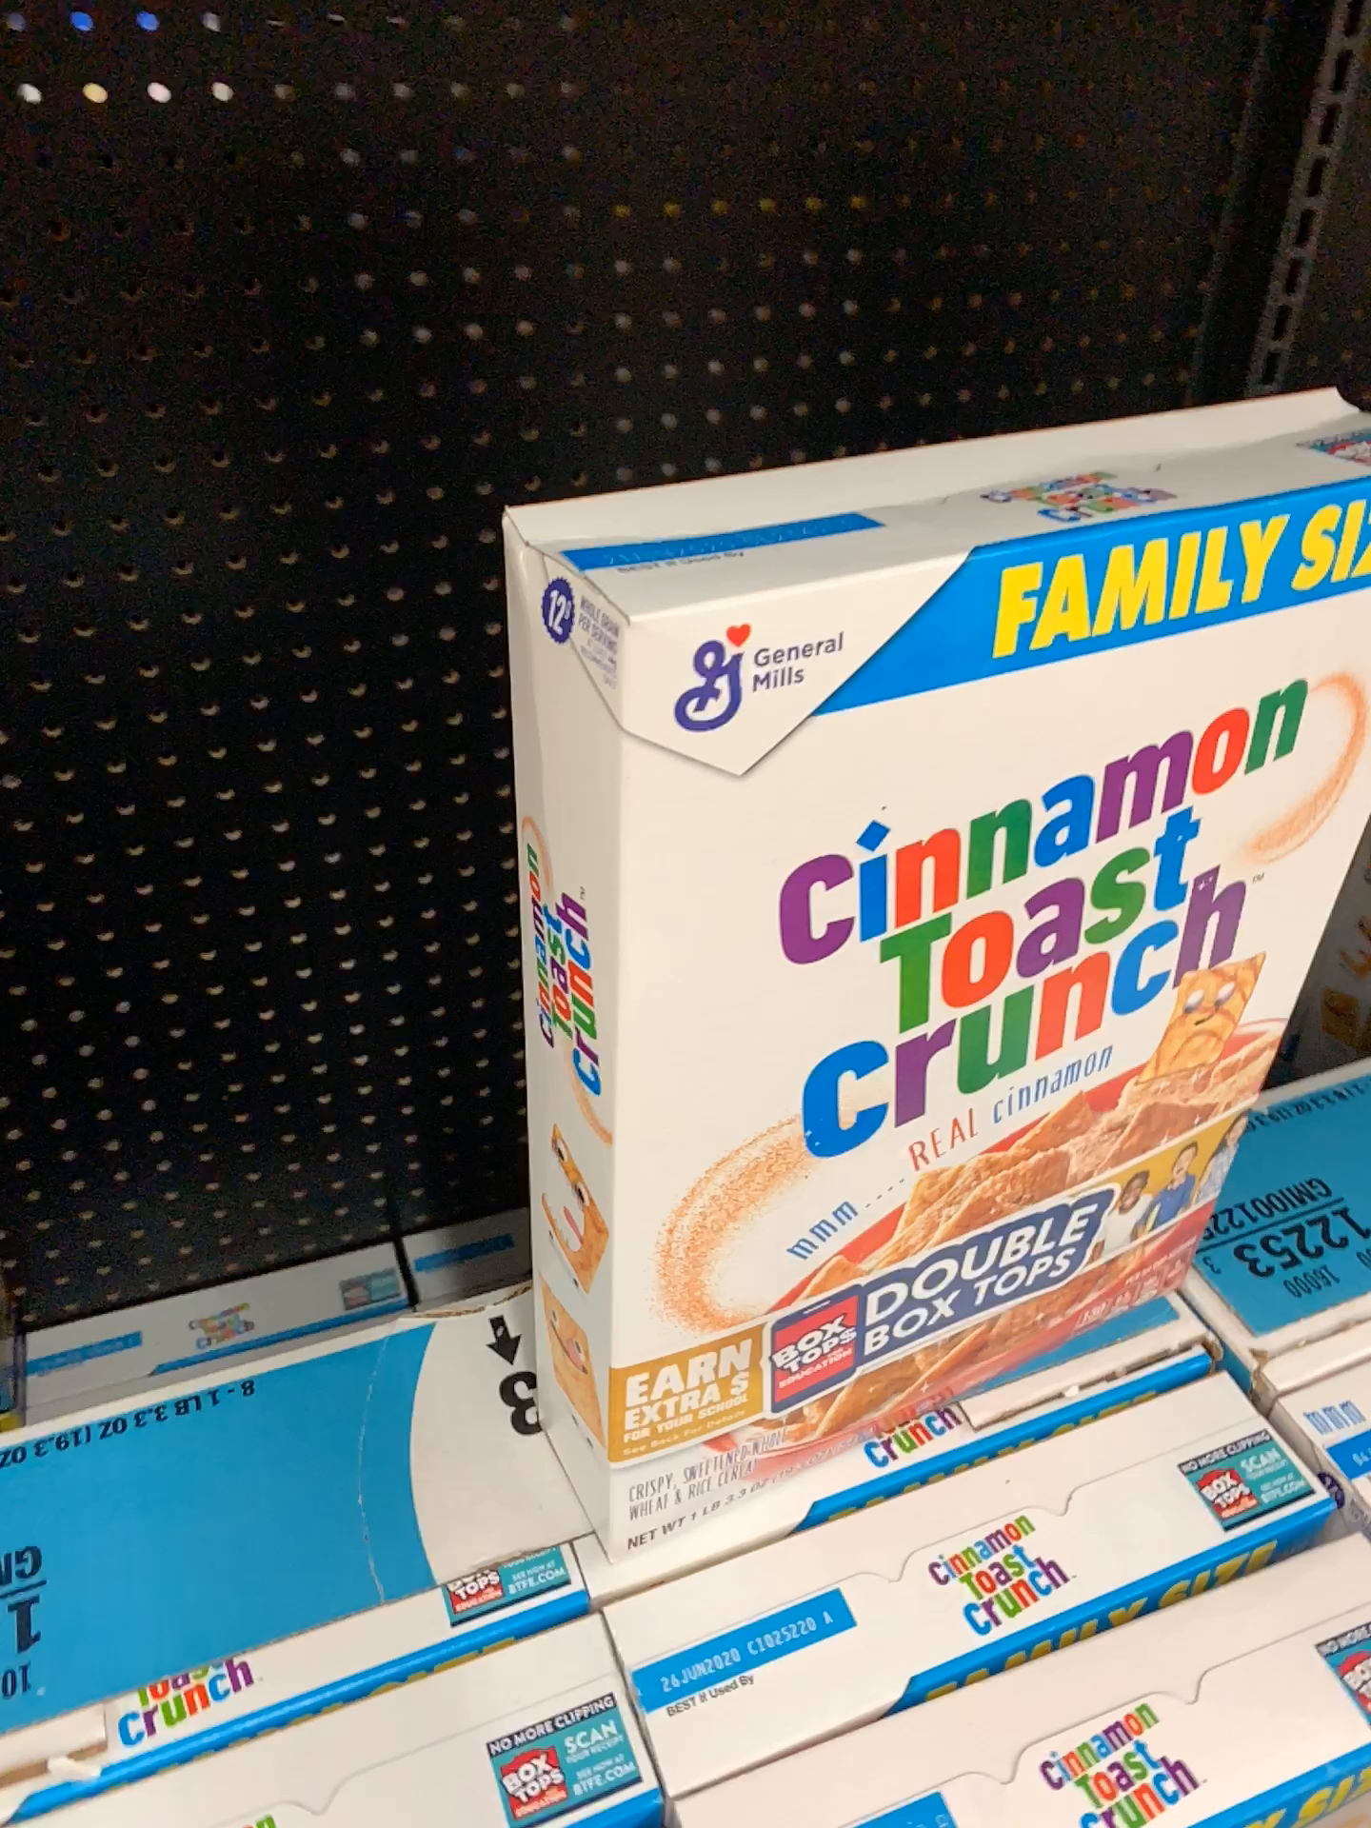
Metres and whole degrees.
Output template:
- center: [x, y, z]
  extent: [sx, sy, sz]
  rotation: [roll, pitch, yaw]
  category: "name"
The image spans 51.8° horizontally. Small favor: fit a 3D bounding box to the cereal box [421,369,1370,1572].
- center: [0.064, 0.024, 0.392]
  extent: [0.240, 0.298, 0.060]
  rotation: [-16, 39, -23]
  category: "cereal box"
